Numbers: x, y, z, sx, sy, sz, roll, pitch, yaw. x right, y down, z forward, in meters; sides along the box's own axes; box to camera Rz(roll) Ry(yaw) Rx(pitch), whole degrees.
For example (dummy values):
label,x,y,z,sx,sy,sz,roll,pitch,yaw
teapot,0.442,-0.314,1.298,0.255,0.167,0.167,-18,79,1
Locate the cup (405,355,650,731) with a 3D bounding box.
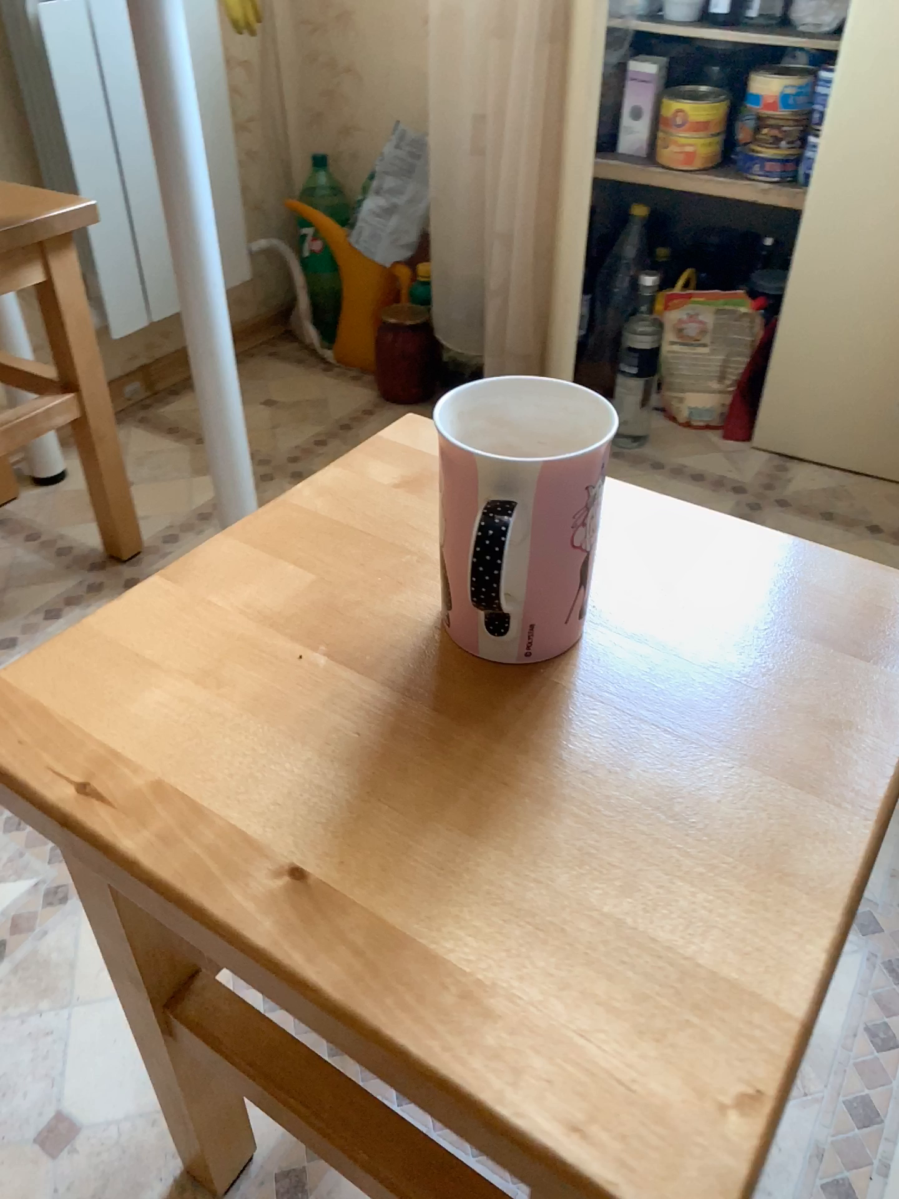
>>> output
label,x,y,z,sx,sy,sz,roll,pitch,yaw
cup,0.030,-0.028,0.379,0.080,0.099,0.121,4,37,4
